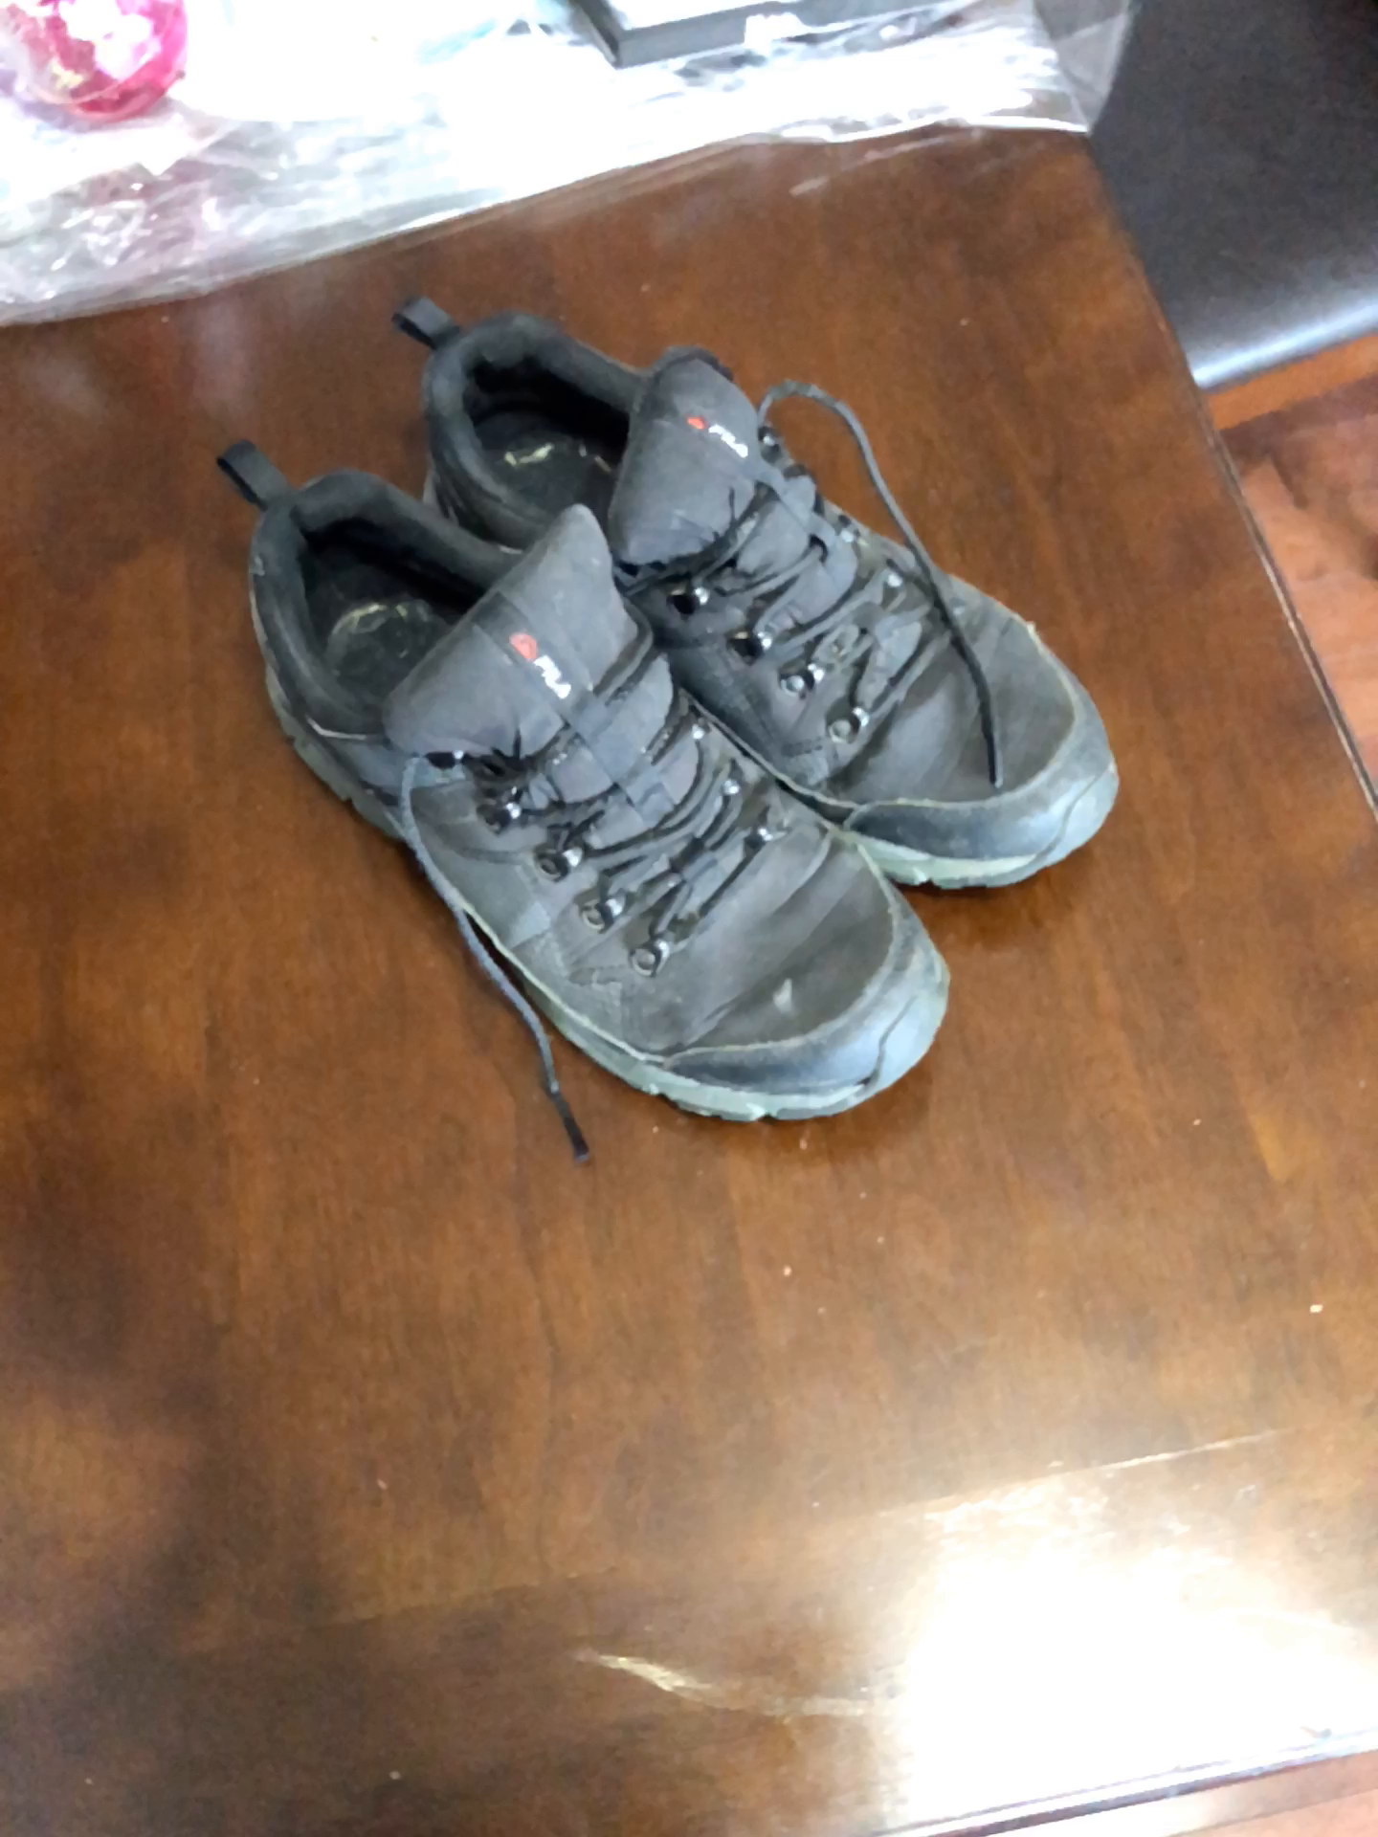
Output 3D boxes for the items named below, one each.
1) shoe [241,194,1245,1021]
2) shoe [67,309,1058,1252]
[{"bbox_3d":[0.014,-0.117,0.576,0.320,0.150,0.120,31,71,18],"label":"shoe"},{"bbox_3d":[-0.045,-0.048,0.557,0.320,0.170,0.120,38,74,20],"label":"shoe"}]
